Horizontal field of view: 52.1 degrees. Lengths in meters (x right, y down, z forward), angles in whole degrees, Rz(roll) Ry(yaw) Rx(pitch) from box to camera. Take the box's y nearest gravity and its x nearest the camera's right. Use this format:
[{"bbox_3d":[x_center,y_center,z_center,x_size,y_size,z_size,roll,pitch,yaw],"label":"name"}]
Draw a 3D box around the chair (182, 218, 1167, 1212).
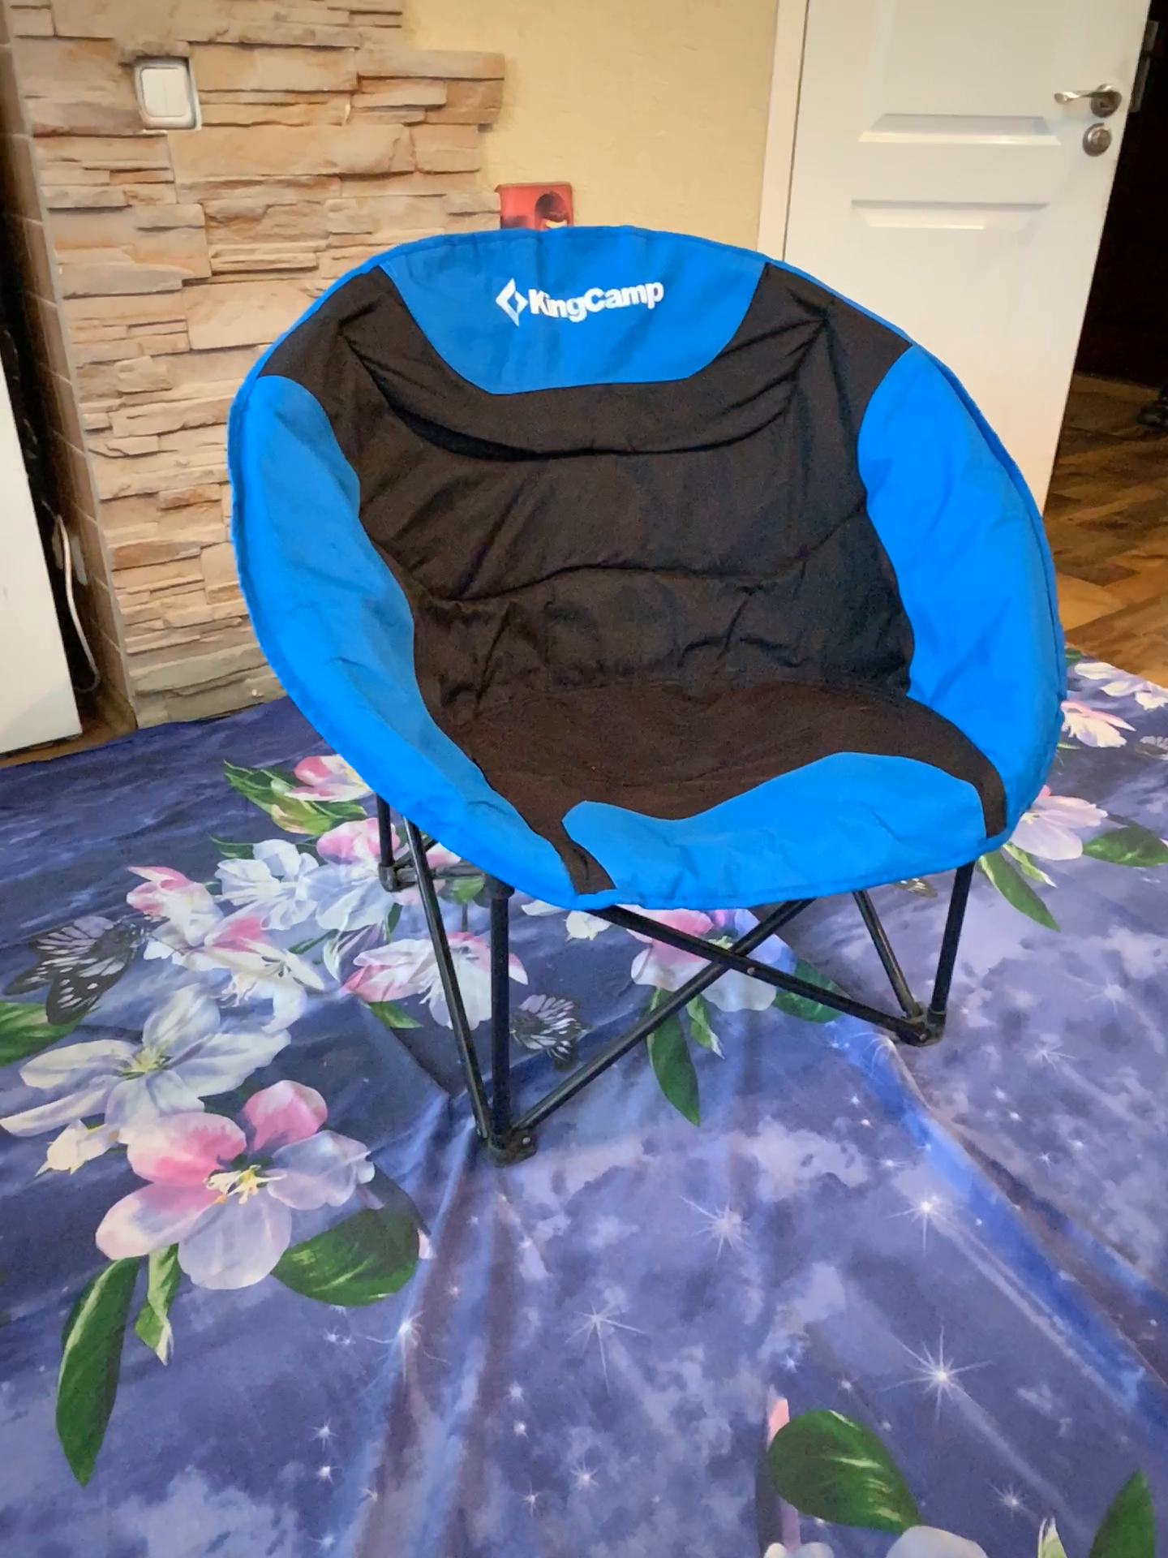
[{"bbox_3d":[0.040,-0.142,1.274,0.761,0.772,0.612,-9,31,-17],"label":"chair"}]
